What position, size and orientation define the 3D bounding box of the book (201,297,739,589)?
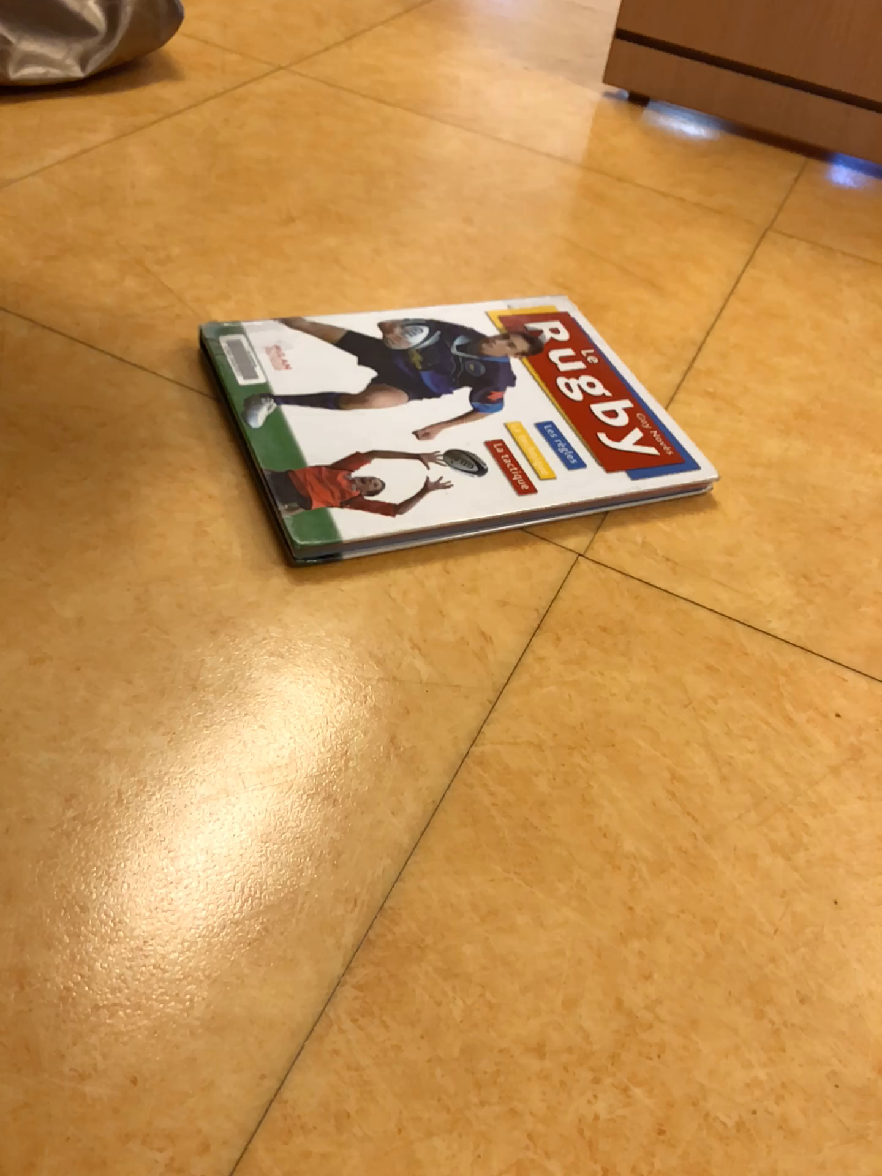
[{"bbox_3d":[0.011,-0.101,0.577,0.261,0.024,0.203,-11,49,-22],"label":"book"}]
